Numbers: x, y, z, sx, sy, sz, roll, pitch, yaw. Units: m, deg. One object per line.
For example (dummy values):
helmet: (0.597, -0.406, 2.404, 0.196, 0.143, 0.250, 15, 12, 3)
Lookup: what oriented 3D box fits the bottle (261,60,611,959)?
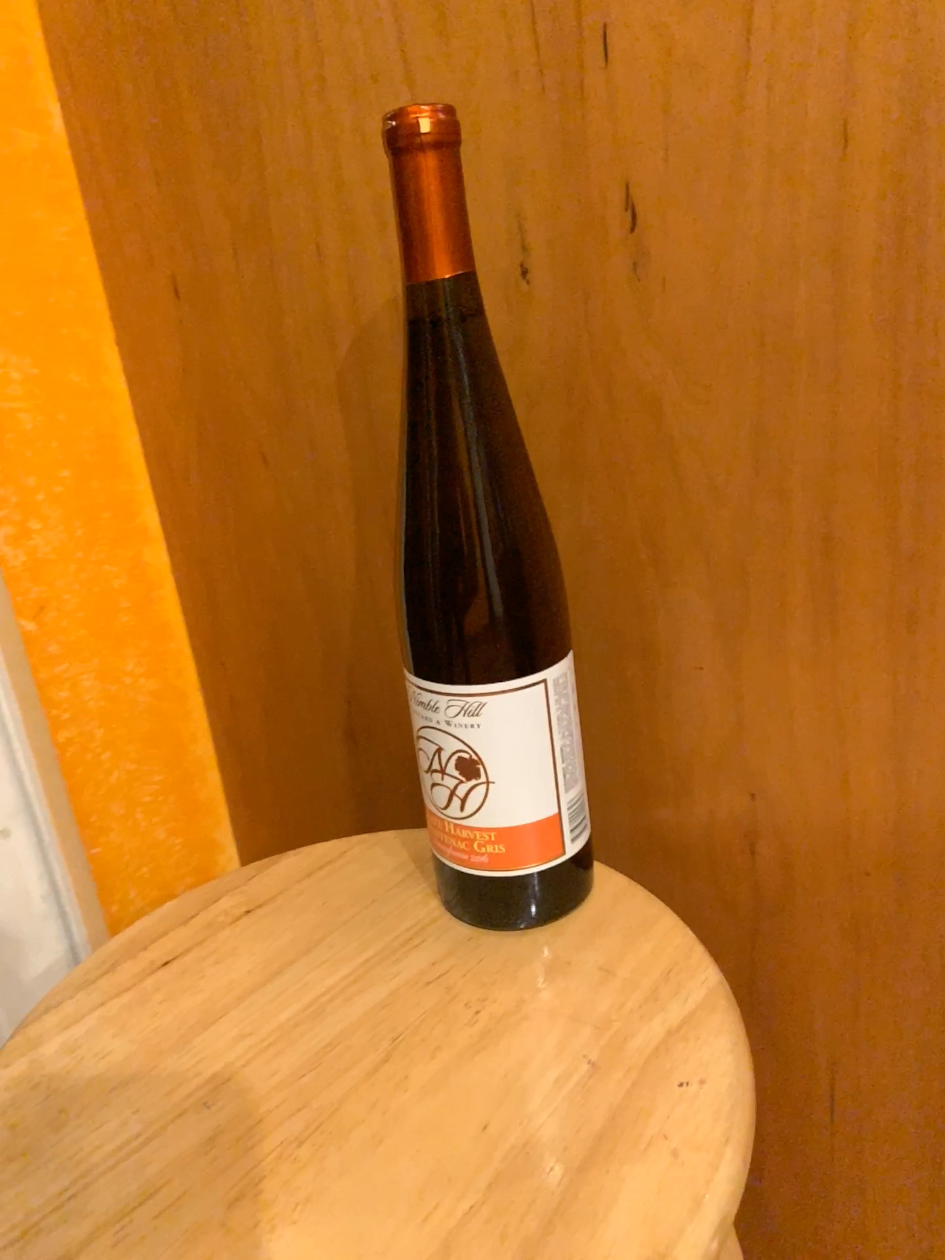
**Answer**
bottle: (-0.006, -0.033, 0.394, 0.080, 0.329, 0.060, 9, 25, 38)
